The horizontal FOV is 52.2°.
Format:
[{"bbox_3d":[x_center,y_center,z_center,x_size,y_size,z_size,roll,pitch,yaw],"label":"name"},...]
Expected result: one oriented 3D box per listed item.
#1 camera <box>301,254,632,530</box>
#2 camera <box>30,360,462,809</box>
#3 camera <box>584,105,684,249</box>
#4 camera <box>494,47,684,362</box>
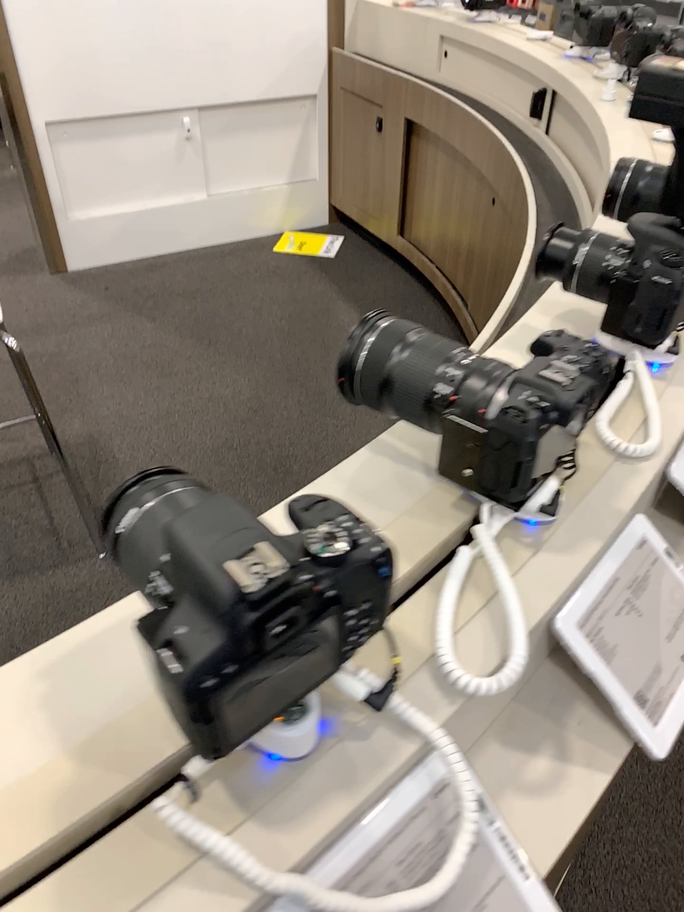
[{"bbox_3d":[0.090,-0.062,0.547,0.201,0.099,0.140,27,46,28],"label":"camera"},{"bbox_3d":[-0.053,0.057,0.398,0.150,0.119,0.171,-29,48,-32],"label":"camera"},{"bbox_3d":[0.419,-0.344,0.845,0.190,0.099,0.141,22,44,23],"label":"camera"},{"bbox_3d":[0.273,-0.244,0.665,0.170,0.219,0.150,26,46,27],"label":"camera"}]
